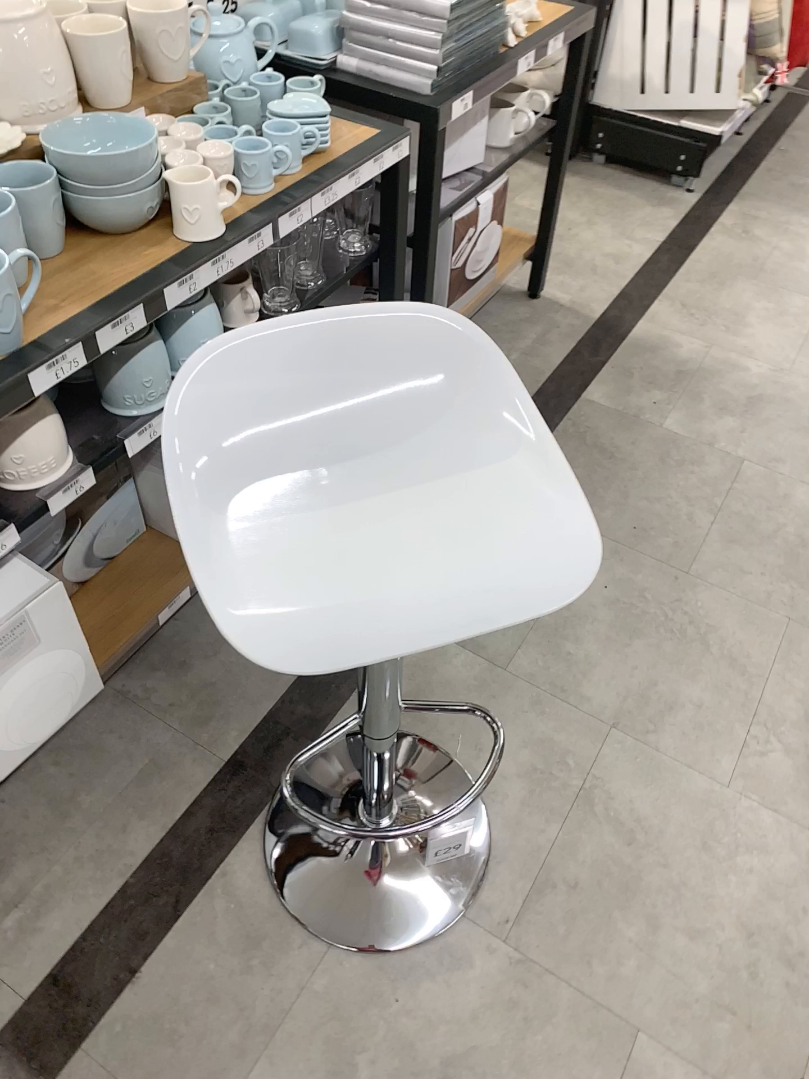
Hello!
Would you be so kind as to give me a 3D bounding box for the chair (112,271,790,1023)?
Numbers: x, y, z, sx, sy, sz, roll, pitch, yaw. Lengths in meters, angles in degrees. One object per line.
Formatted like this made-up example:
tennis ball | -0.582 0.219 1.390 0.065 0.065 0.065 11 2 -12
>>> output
chair | -0.011 0.186 1.005 0.455 0.826 0.424 -13 50 -14
